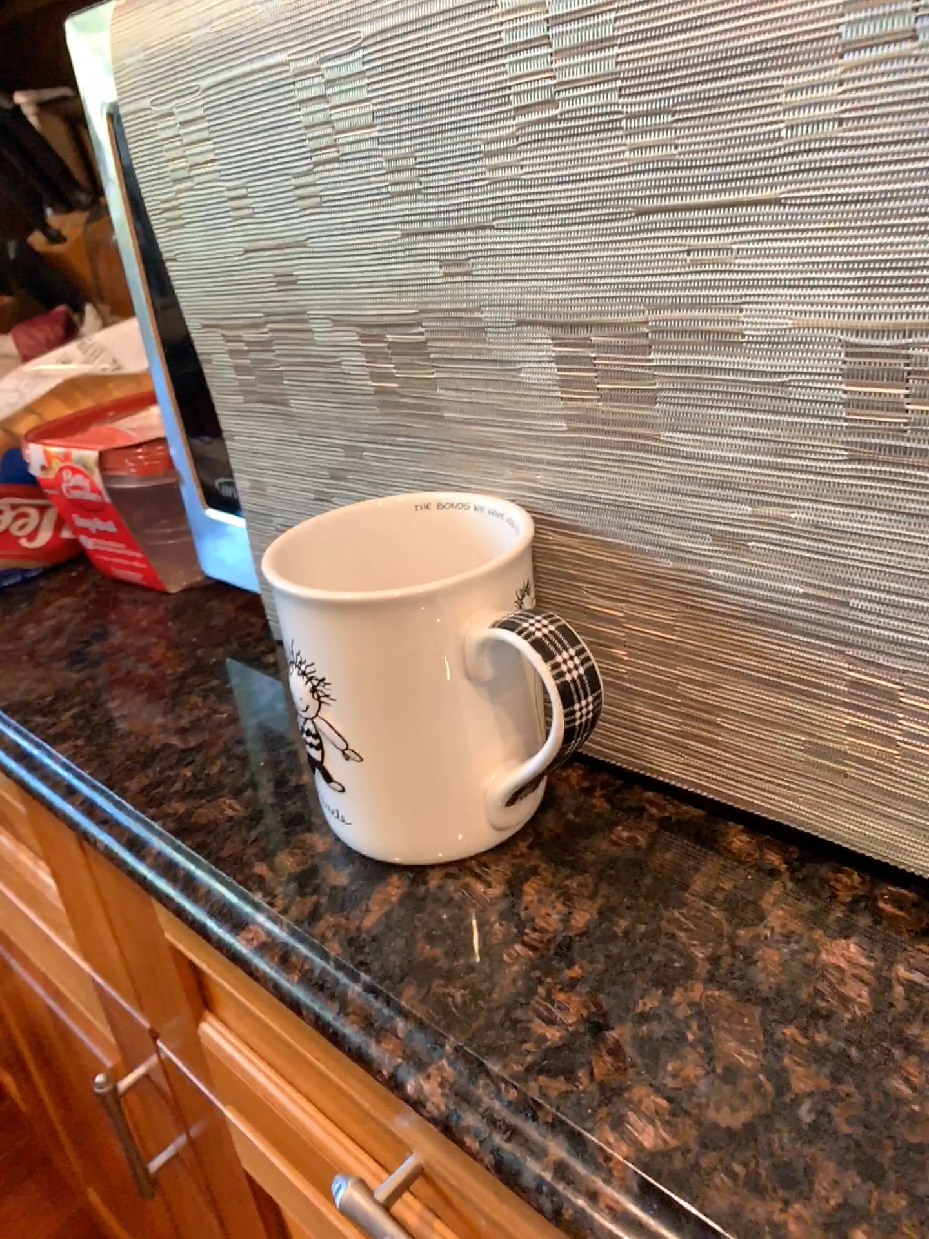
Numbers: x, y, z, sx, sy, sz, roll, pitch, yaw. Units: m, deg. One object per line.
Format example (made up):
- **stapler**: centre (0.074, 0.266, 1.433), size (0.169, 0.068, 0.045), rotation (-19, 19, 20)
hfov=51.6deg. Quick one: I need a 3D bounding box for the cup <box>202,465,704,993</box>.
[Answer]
- **cup**: centre (-0.003, 0.024, 0.330), size (0.100, 0.109, 0.131), rotation (-26, 31, -33)
